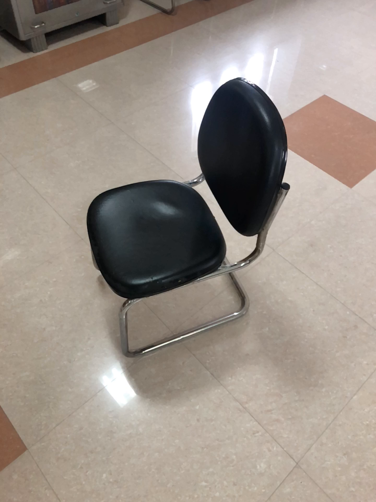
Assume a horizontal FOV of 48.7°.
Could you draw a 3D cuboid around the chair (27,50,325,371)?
[{"bbox_3d":[-0.065,-0.096,1.322,0.590,0.758,0.501,-17,55,-15],"label":"chair"}]
